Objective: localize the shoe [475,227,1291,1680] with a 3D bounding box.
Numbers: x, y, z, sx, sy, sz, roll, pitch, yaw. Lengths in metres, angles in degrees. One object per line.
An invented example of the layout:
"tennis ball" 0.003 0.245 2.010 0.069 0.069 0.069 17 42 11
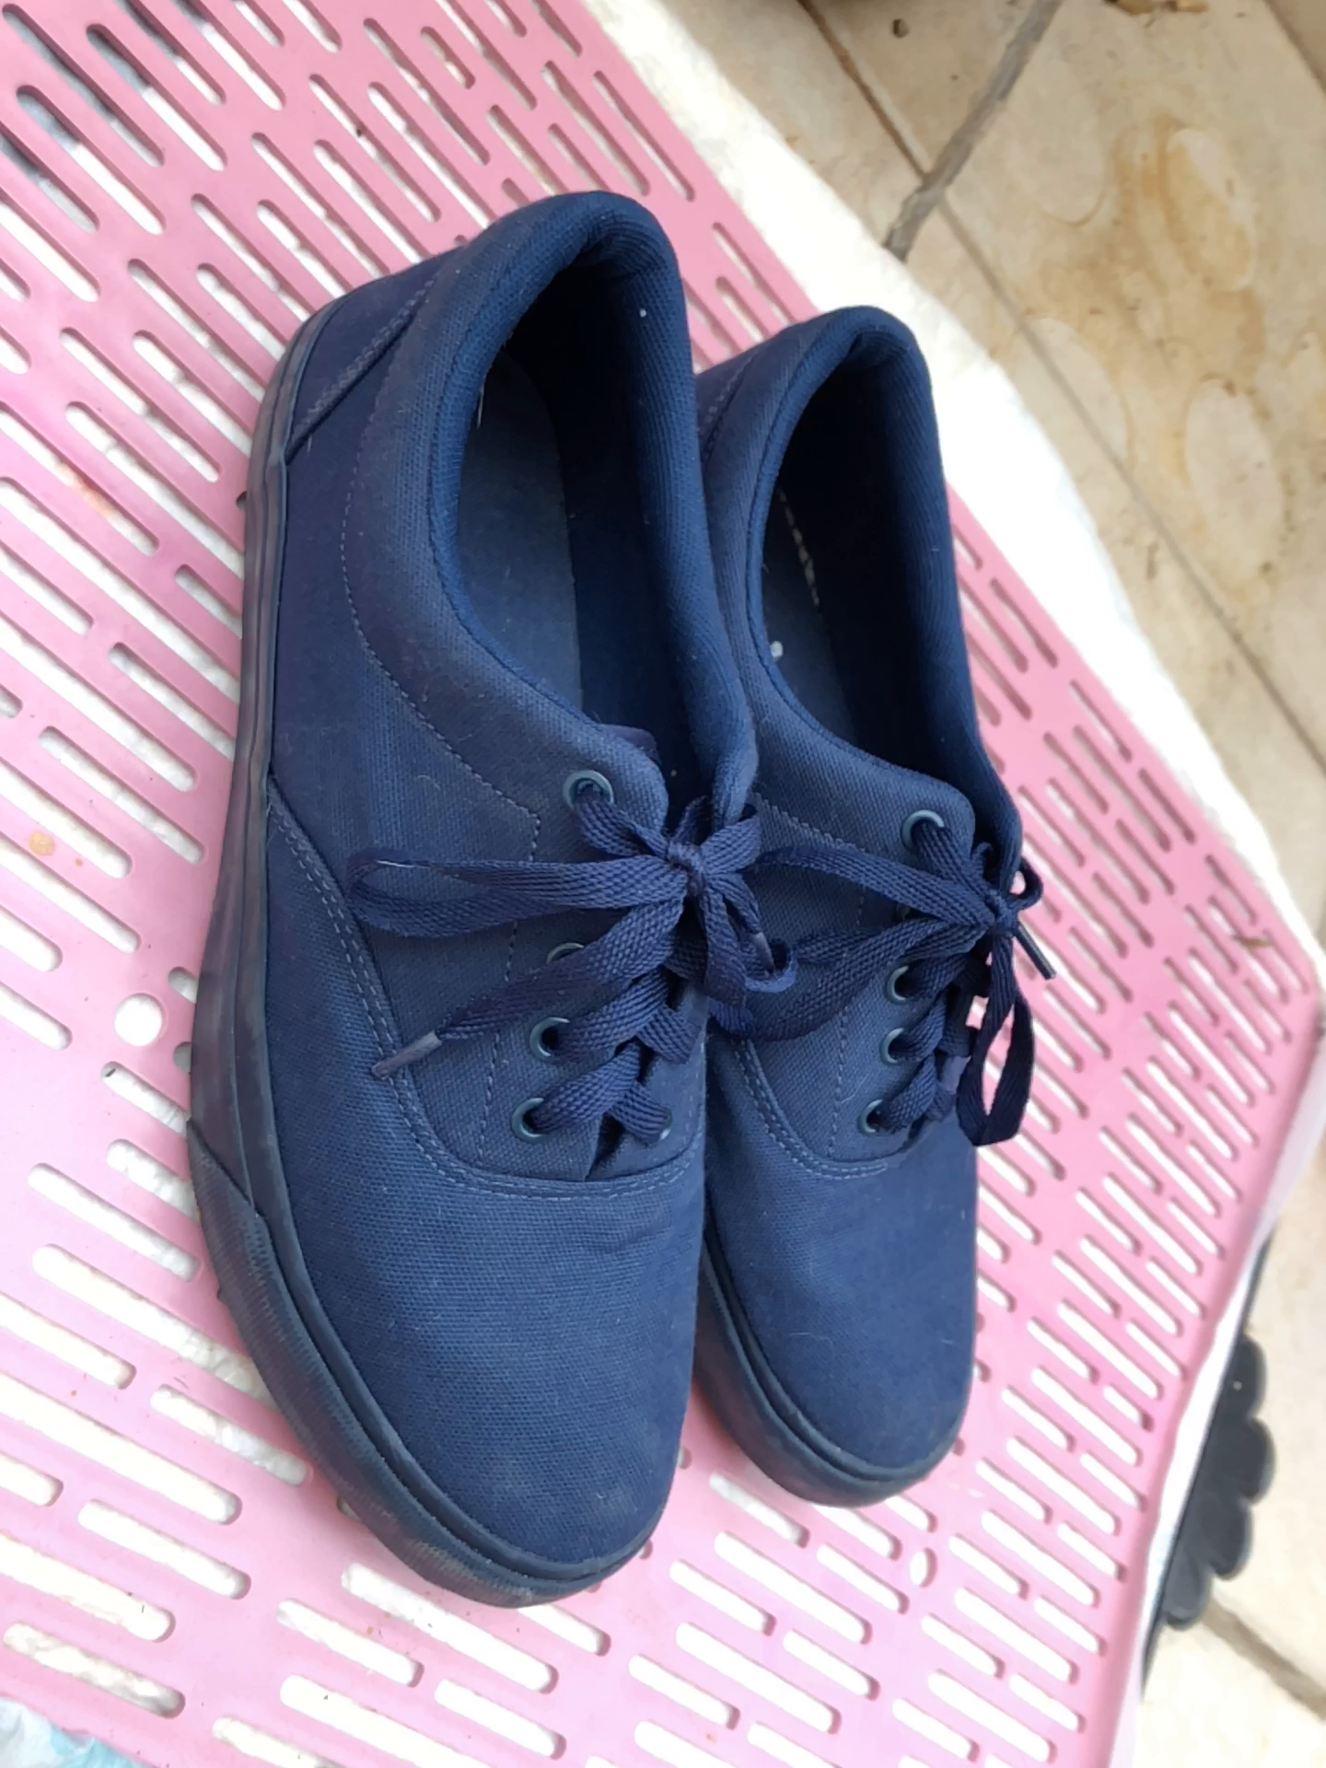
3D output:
"shoe" 0.051 0.011 0.343 0.108 0.099 0.270 -10 91 -39

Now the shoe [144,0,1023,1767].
"shoe" -0.019 0.005 0.278 0.108 0.099 0.270 -2 86 -39
